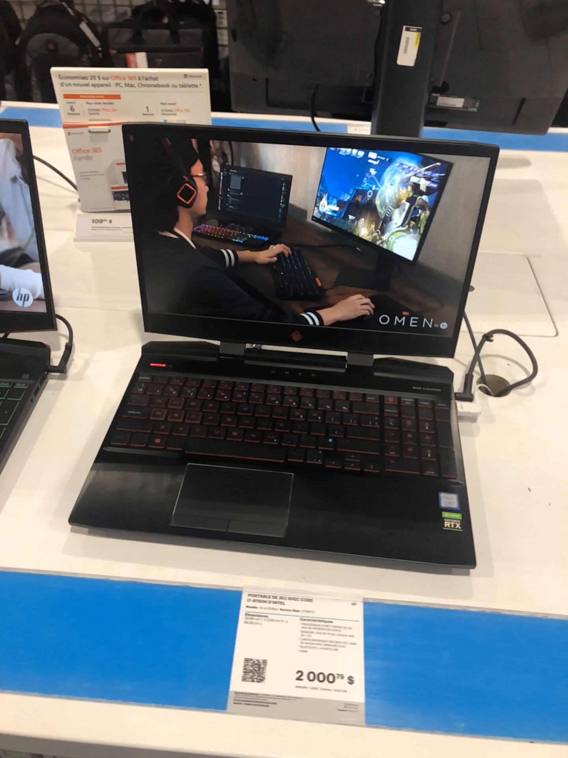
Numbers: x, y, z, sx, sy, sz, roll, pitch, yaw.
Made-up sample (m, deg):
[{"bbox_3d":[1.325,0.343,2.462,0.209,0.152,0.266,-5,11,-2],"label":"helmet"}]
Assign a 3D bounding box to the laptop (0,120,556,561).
[{"bbox_3d":[0.004,-0.048,0.578,0.355,0.239,0.294,5,43,4],"label":"laptop"}]
